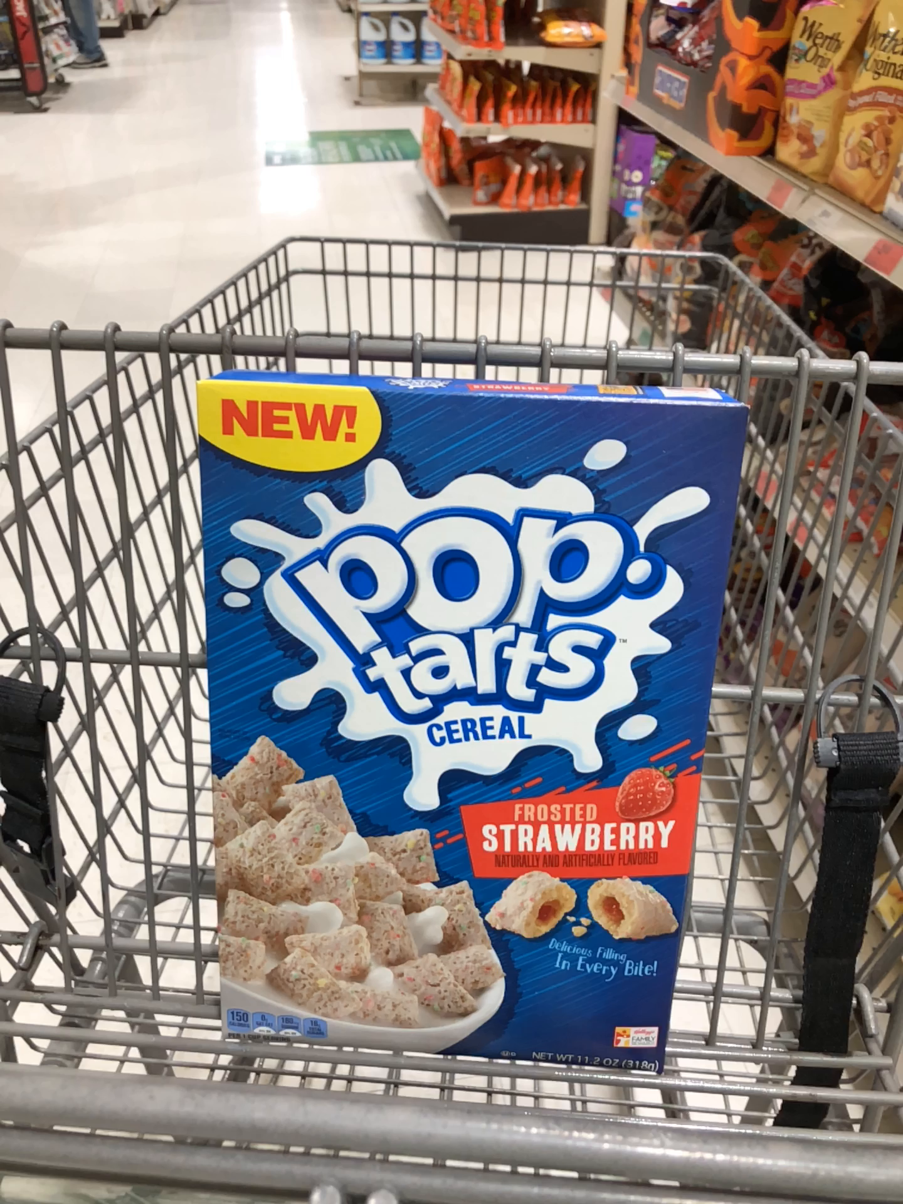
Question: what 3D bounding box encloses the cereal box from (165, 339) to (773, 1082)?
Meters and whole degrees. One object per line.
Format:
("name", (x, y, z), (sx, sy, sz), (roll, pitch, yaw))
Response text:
("cereal box", (0.002, 0.045, 0.391), (0.200, 0.280, 0.050), (3, 17, 5))
